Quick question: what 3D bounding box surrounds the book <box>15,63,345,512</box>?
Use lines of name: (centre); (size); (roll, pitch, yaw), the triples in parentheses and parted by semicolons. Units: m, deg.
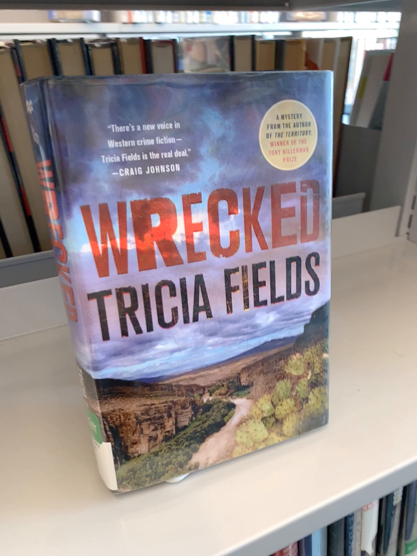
book: (-0.001, 0.005, 0.236); (0.150, 0.213, 0.034); (-11, 19, -18)
